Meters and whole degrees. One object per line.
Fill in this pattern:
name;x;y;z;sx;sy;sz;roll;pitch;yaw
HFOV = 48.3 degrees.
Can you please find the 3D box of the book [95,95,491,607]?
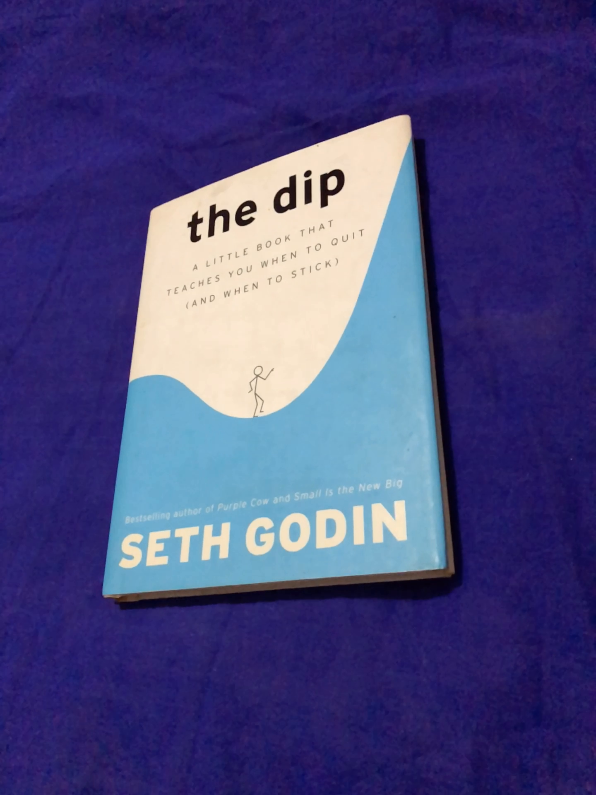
book;-0.008;-0.021;0.267;0.140;0.020;0.190;-12;62;24
